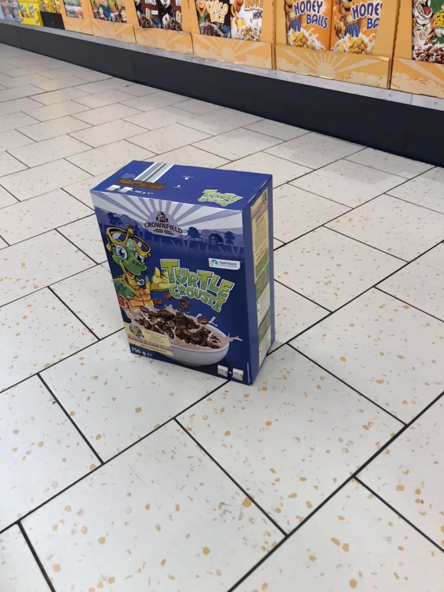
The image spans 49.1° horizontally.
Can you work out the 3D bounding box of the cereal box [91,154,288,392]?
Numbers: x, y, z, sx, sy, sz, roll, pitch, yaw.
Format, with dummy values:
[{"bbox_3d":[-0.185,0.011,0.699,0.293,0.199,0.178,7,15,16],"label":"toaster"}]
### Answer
[{"bbox_3d":[-0.028,-0.029,0.623,0.200,0.259,0.101,12,39,22],"label":"cereal box"}]
